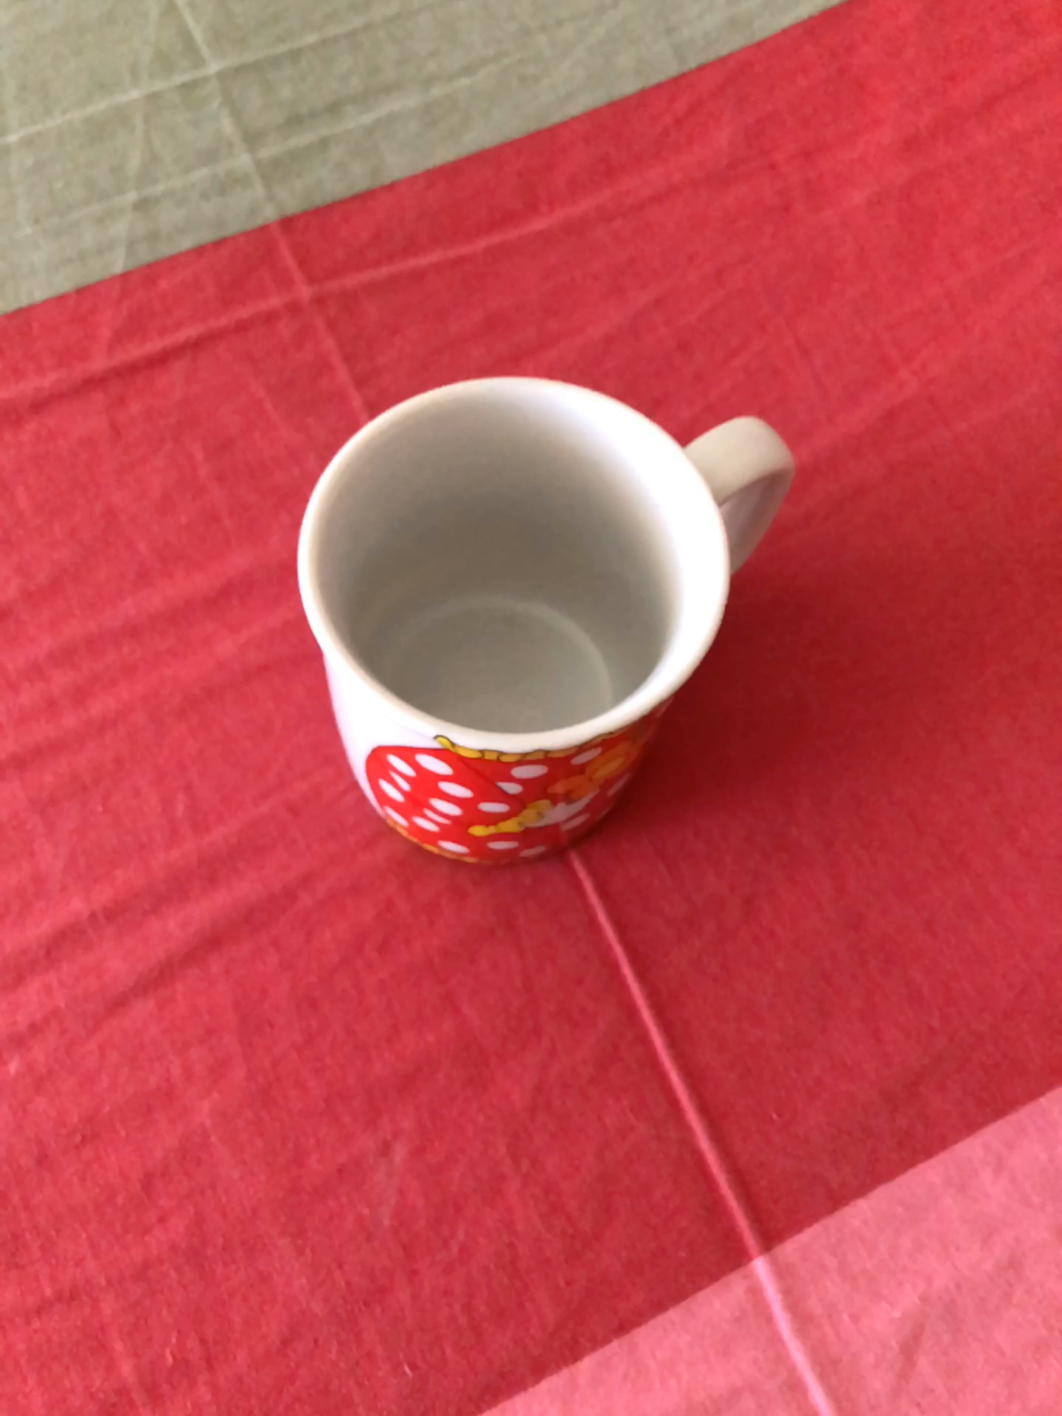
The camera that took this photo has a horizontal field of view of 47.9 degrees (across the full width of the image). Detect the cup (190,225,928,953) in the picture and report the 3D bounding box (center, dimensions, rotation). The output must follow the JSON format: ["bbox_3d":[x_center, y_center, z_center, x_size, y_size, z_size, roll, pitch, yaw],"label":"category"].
[{"bbox_3d":[0.004,-0.024,0.273,0.116,0.086,0.089,-39,76,-18],"label":"cup"}]
